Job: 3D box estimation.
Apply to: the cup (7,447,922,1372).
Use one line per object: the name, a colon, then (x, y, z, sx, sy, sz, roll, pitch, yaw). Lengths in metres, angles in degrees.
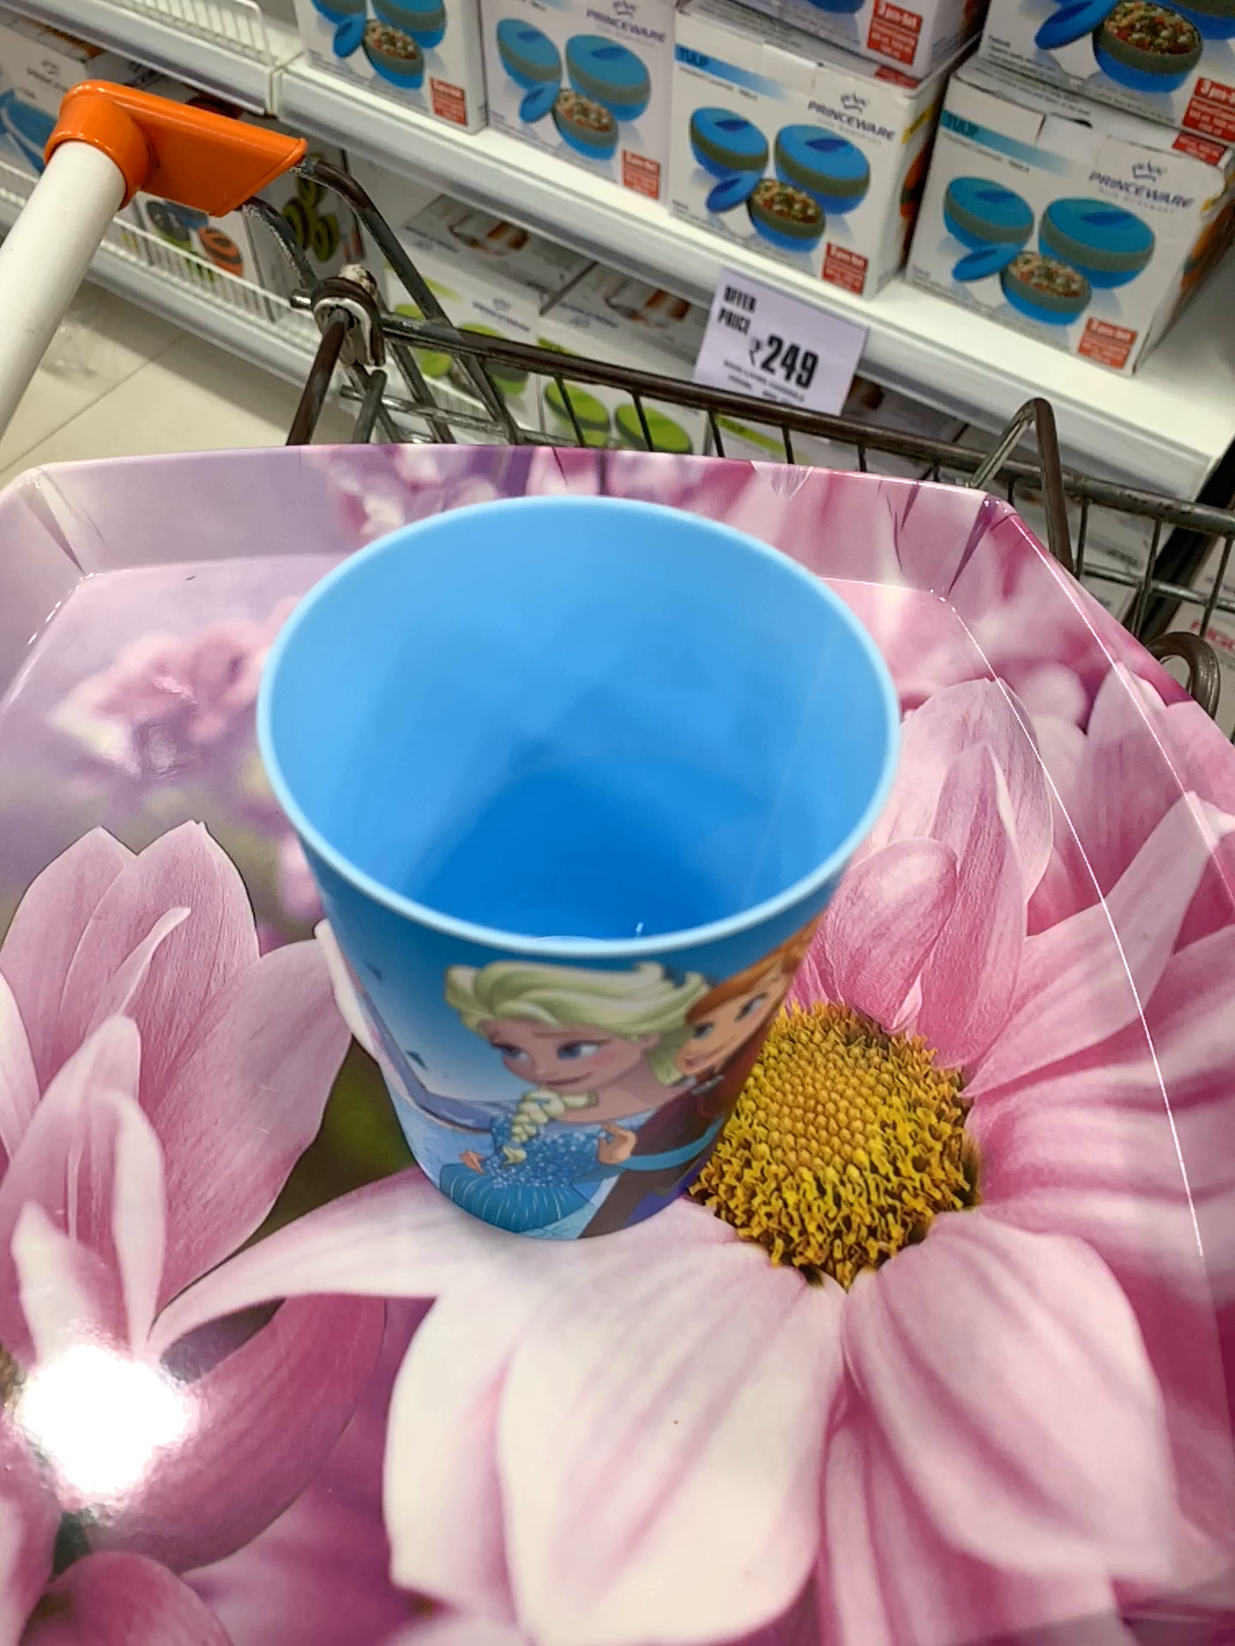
cup: (-0.015, 0.019, 0.182, 0.080, 0.109, 0.060, 20, 56, 13)
